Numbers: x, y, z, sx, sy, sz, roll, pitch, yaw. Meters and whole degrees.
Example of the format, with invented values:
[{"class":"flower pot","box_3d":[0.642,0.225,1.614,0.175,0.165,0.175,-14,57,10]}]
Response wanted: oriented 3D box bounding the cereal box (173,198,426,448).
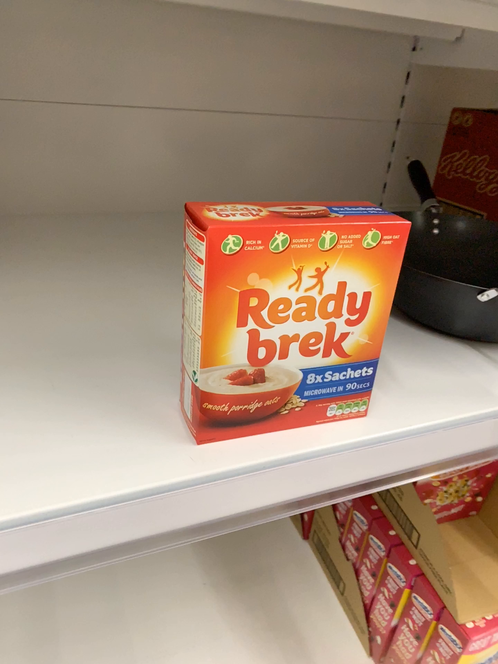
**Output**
[{"class":"cereal box","box_3d":[0.034,-0.011,0.443,0.180,0.188,0.070,-5,29,-21]}]
